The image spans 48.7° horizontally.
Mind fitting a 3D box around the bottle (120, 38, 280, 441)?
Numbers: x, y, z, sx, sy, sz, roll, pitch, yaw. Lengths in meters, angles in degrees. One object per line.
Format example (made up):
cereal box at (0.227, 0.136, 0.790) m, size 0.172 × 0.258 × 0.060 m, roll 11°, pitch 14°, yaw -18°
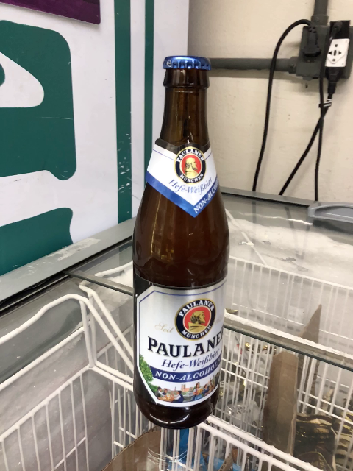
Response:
bottle at (0.006, 0.010, 0.254) m, size 0.070 × 0.238 × 0.060 m, roll -5°, pitch 21°, yaw -18°
